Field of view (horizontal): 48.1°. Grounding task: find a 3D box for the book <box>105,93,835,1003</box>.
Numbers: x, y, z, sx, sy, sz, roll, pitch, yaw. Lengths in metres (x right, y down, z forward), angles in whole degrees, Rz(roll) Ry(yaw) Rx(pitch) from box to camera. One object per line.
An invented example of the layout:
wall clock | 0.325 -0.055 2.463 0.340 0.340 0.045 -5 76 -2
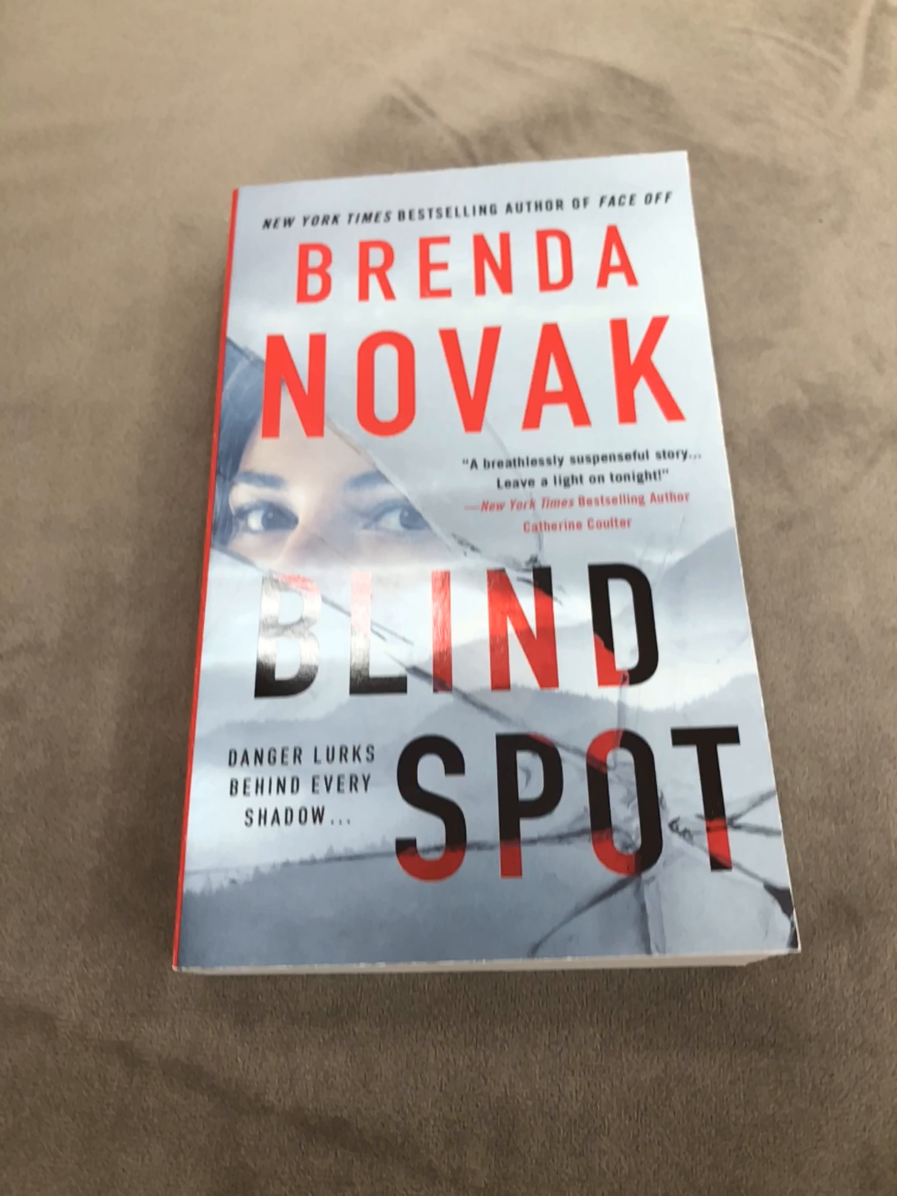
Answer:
book | 0.002 -0.014 0.224 0.120 0.050 0.191 -4 67 6
